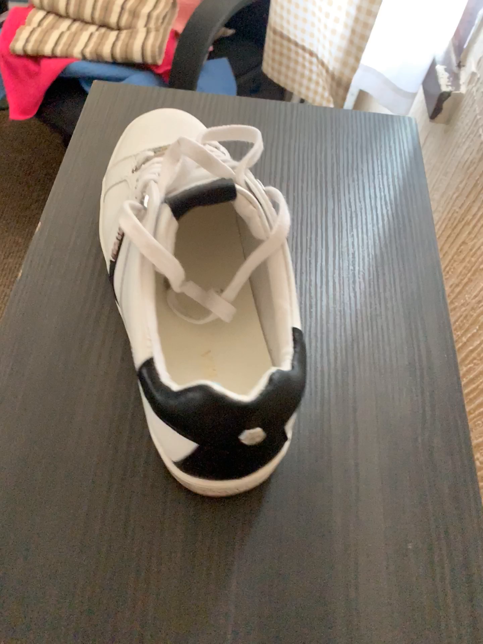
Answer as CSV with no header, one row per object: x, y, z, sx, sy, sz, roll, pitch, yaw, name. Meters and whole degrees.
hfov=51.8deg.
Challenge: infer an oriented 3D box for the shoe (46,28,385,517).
-0.034,-0.046,0.280,0.104,0.087,0.262,-12,60,-12,shoe
